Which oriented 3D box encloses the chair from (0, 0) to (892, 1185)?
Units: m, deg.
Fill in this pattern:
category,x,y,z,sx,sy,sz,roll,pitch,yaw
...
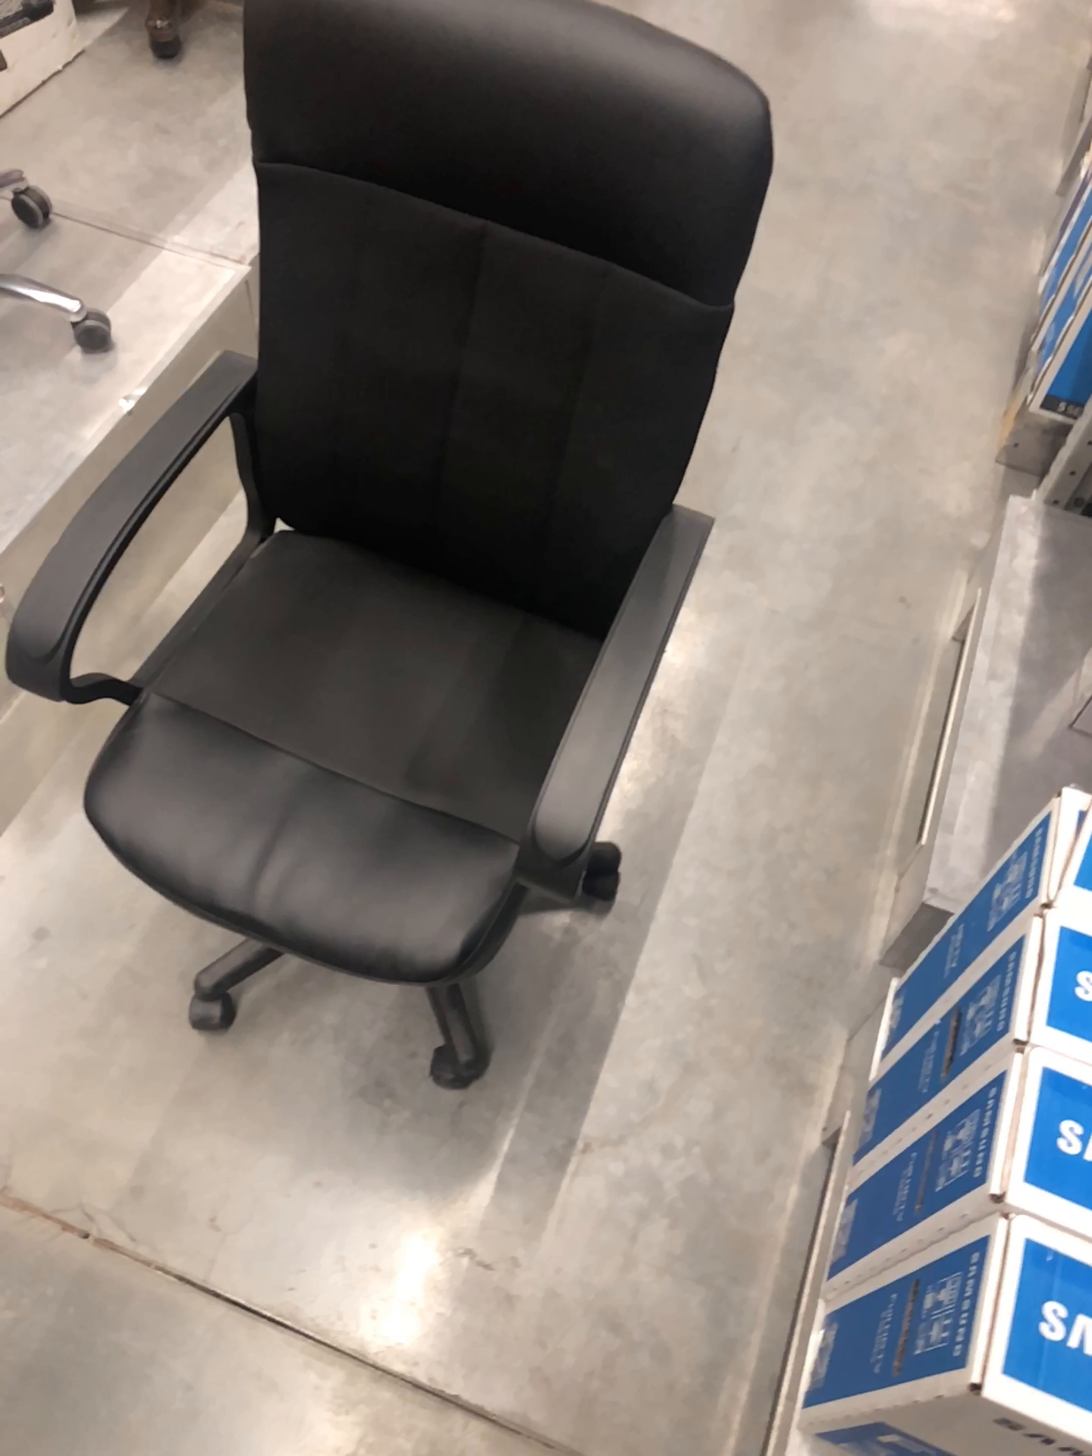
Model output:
category,x,y,z,sx,sy,sz,roll,pitch,yaw
chair,-0.180,-0.074,1.287,0.650,1.124,0.633,20,57,9
